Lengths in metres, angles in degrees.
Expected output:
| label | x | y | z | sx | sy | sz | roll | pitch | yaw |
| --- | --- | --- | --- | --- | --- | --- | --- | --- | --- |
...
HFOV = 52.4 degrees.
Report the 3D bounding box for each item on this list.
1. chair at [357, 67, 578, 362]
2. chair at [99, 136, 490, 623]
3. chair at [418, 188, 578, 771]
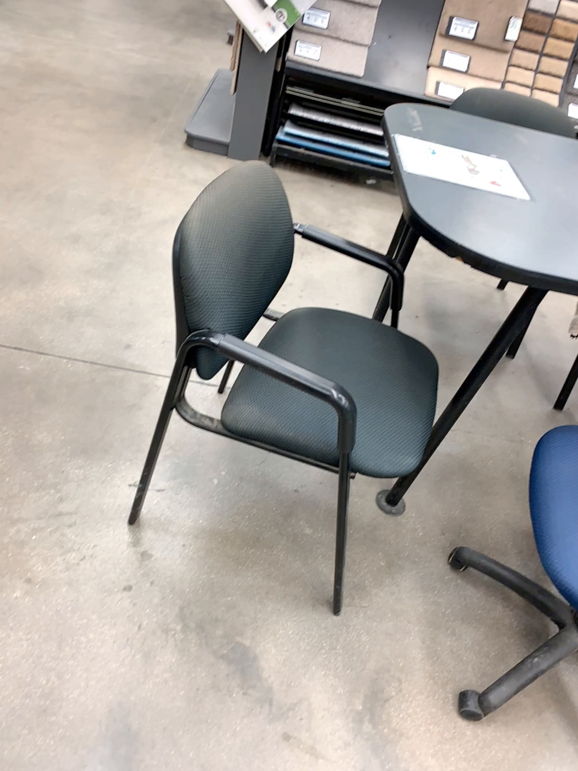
| label | x | y | z | sx | sy | sz | roll | pitch | yaw |
| --- | --- | --- | --- | --- | --- | --- | --- | --- | --- |
| chair | 0.708 | -0.649 | 2.242 | 0.636 | 0.777 | 0.586 | 17 | 40 | 2 |
| chair | 0.001 | -0.022 | 1.336 | 0.584 | 0.750 | 0.607 | 21 | 41 | 7 |
| chair | 0.787 | 0.285 | 1.100 | 0.715 | 0.917 | 0.646 | 21 | 41 | 7 |
